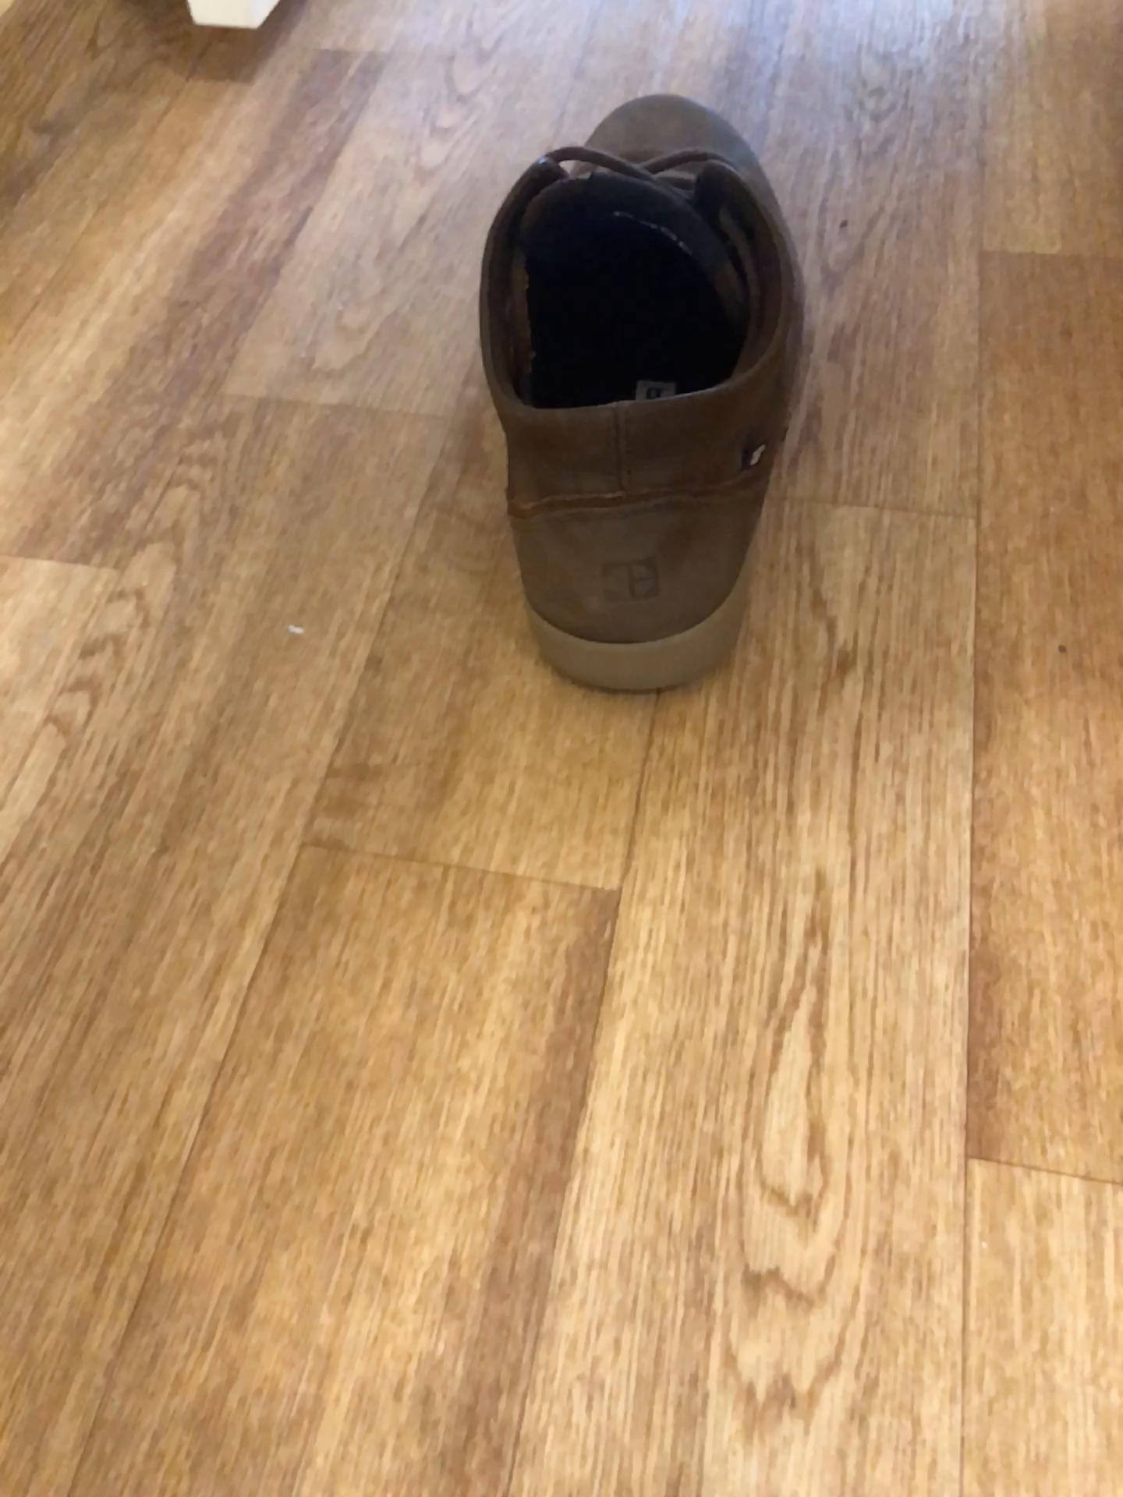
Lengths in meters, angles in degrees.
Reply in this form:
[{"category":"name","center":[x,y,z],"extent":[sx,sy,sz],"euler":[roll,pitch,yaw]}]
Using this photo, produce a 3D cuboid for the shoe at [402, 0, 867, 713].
[{"category":"shoe","center":[0.036,-0.155,0.411],"extent":[0.100,0.100,0.271],"euler":[7,56,7]}]
